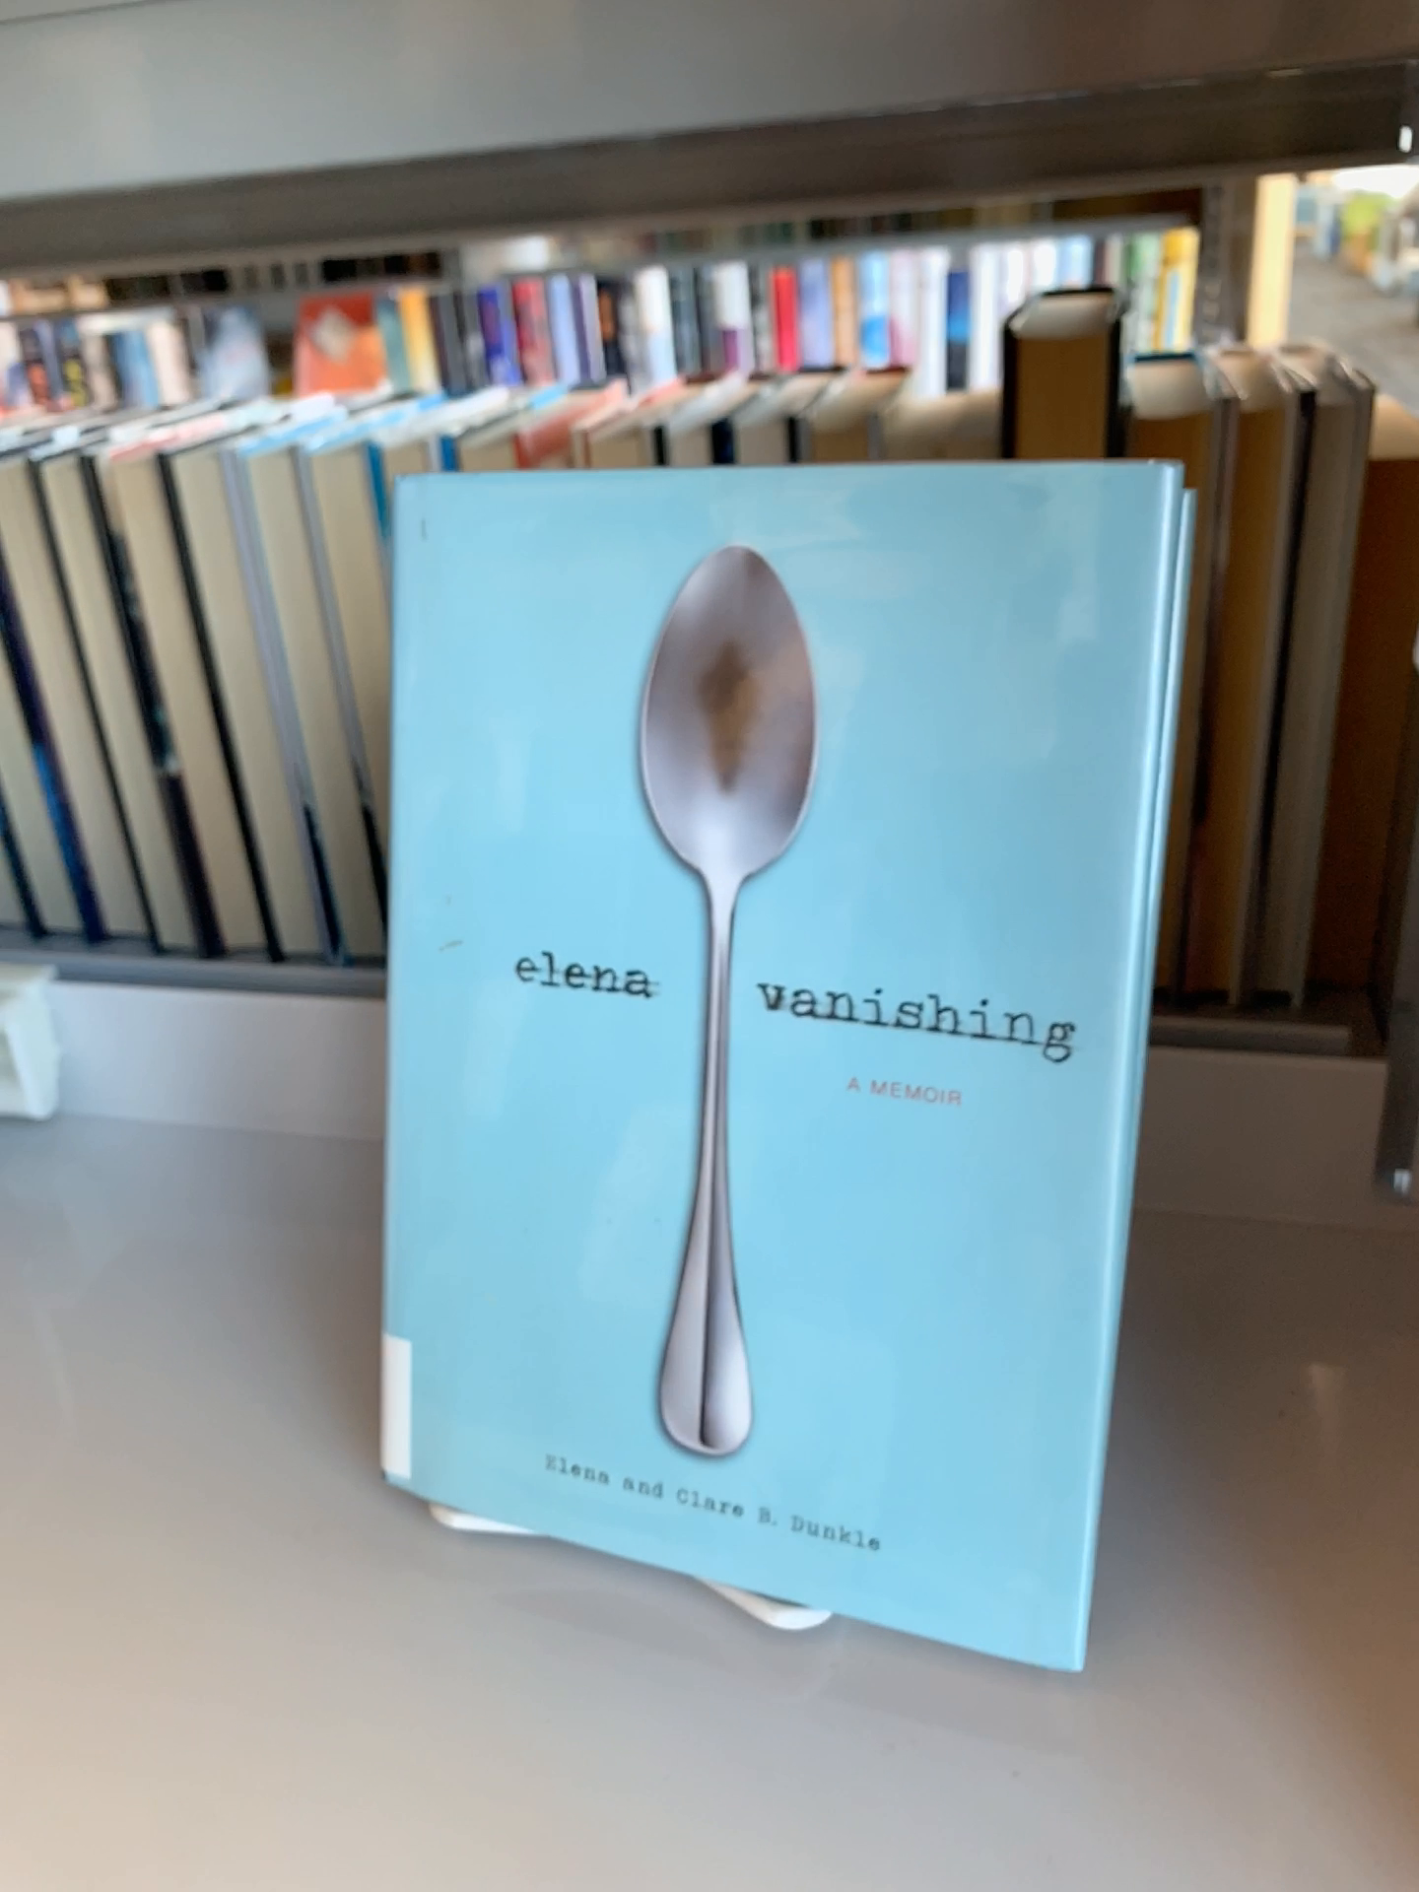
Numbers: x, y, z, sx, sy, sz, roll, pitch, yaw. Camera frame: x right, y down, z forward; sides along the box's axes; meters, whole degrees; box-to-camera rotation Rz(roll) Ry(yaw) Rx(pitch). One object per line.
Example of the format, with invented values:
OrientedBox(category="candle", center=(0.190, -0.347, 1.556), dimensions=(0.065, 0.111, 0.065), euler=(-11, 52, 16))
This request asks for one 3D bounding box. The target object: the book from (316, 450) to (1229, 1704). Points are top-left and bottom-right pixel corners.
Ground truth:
OrientedBox(category="book", center=(0.004, 0.017, 0.279), dimensions=(0.159, 0.203, 0.035), euler=(6, 10, 21))
